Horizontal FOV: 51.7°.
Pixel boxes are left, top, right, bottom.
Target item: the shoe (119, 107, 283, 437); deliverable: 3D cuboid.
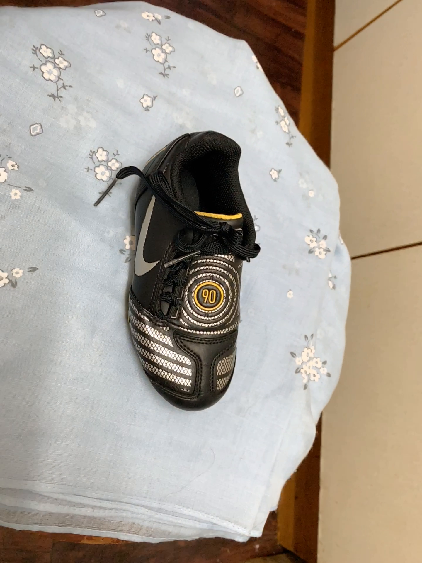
[{"bbox_3d":[-0.010,-0.005,0.299,0.080,0.070,0.190,1,83,-30],"label":"shoe"}]
